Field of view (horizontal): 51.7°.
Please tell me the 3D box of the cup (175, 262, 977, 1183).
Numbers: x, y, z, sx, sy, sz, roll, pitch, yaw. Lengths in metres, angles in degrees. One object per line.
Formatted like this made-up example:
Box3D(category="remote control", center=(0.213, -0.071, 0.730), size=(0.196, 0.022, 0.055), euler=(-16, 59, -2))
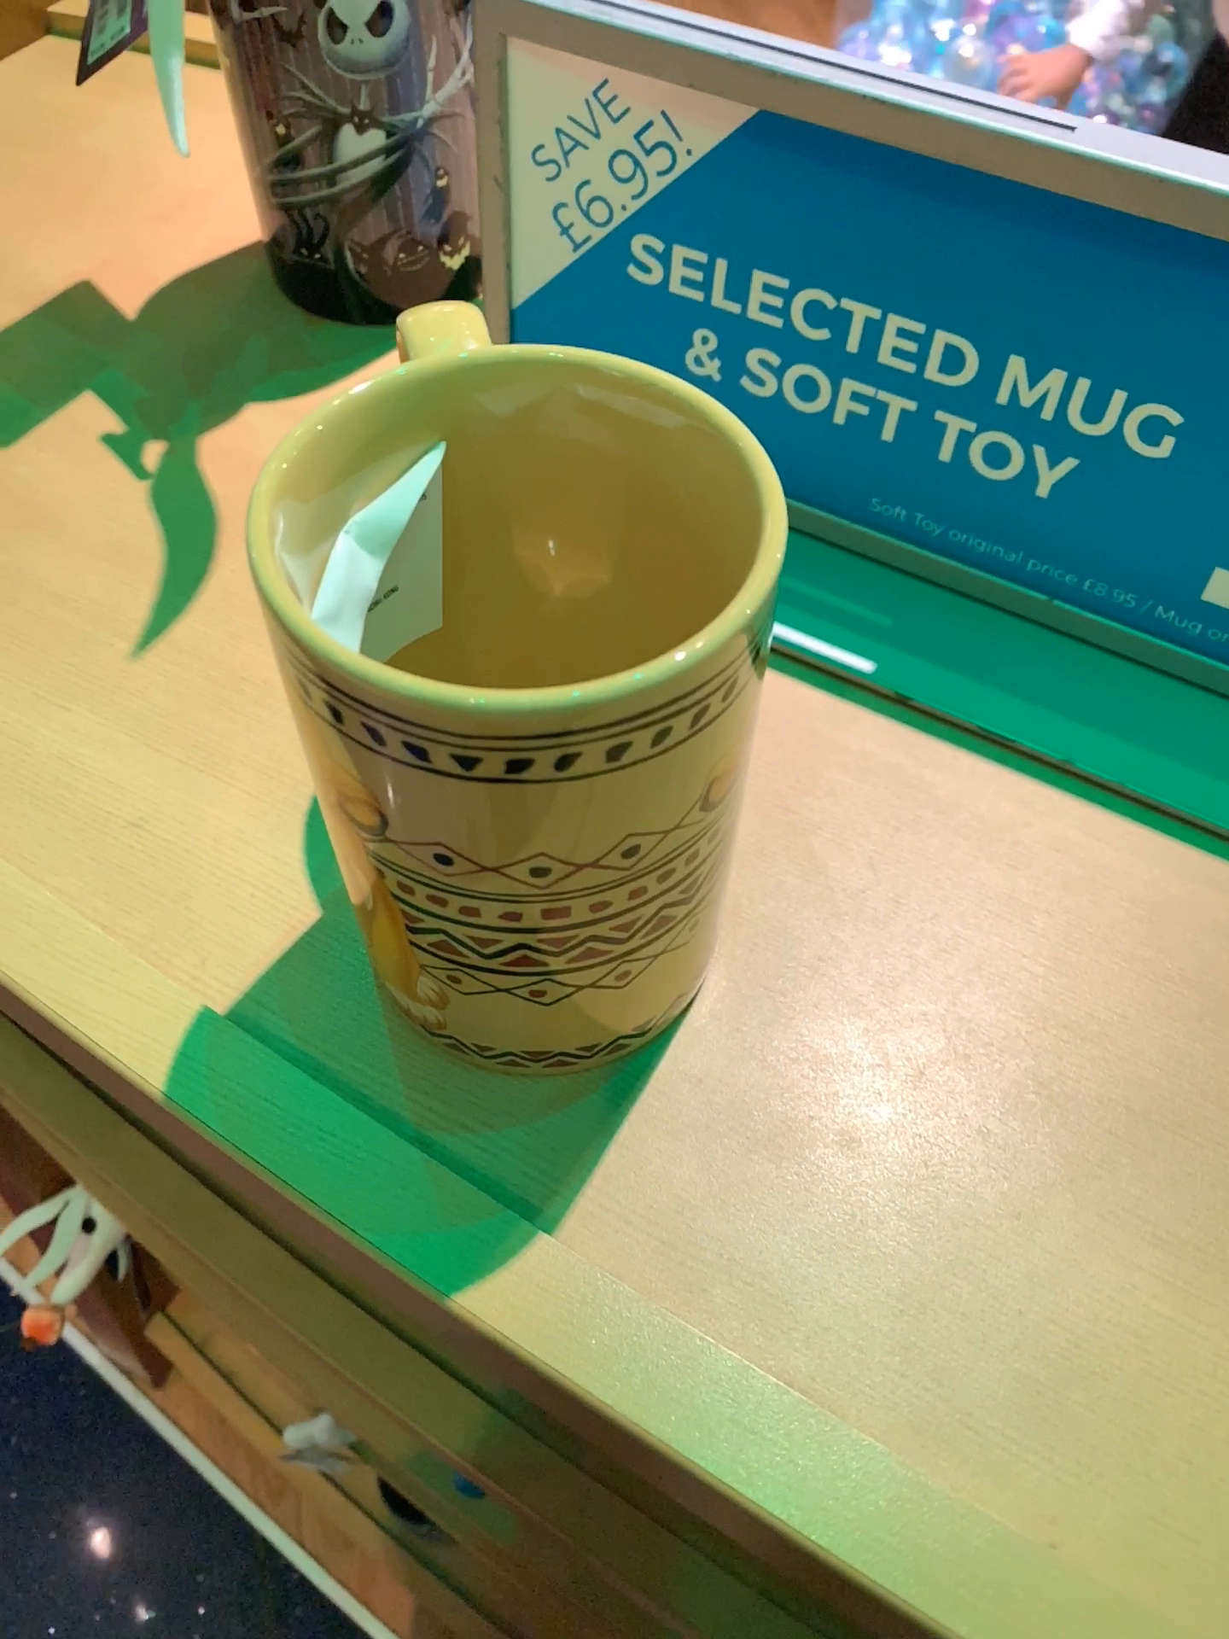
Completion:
Box3D(category="cup", center=(-0.017, -0.019, 0.259), size=(0.100, 0.121, 0.120), euler=(-14, 55, -16))
